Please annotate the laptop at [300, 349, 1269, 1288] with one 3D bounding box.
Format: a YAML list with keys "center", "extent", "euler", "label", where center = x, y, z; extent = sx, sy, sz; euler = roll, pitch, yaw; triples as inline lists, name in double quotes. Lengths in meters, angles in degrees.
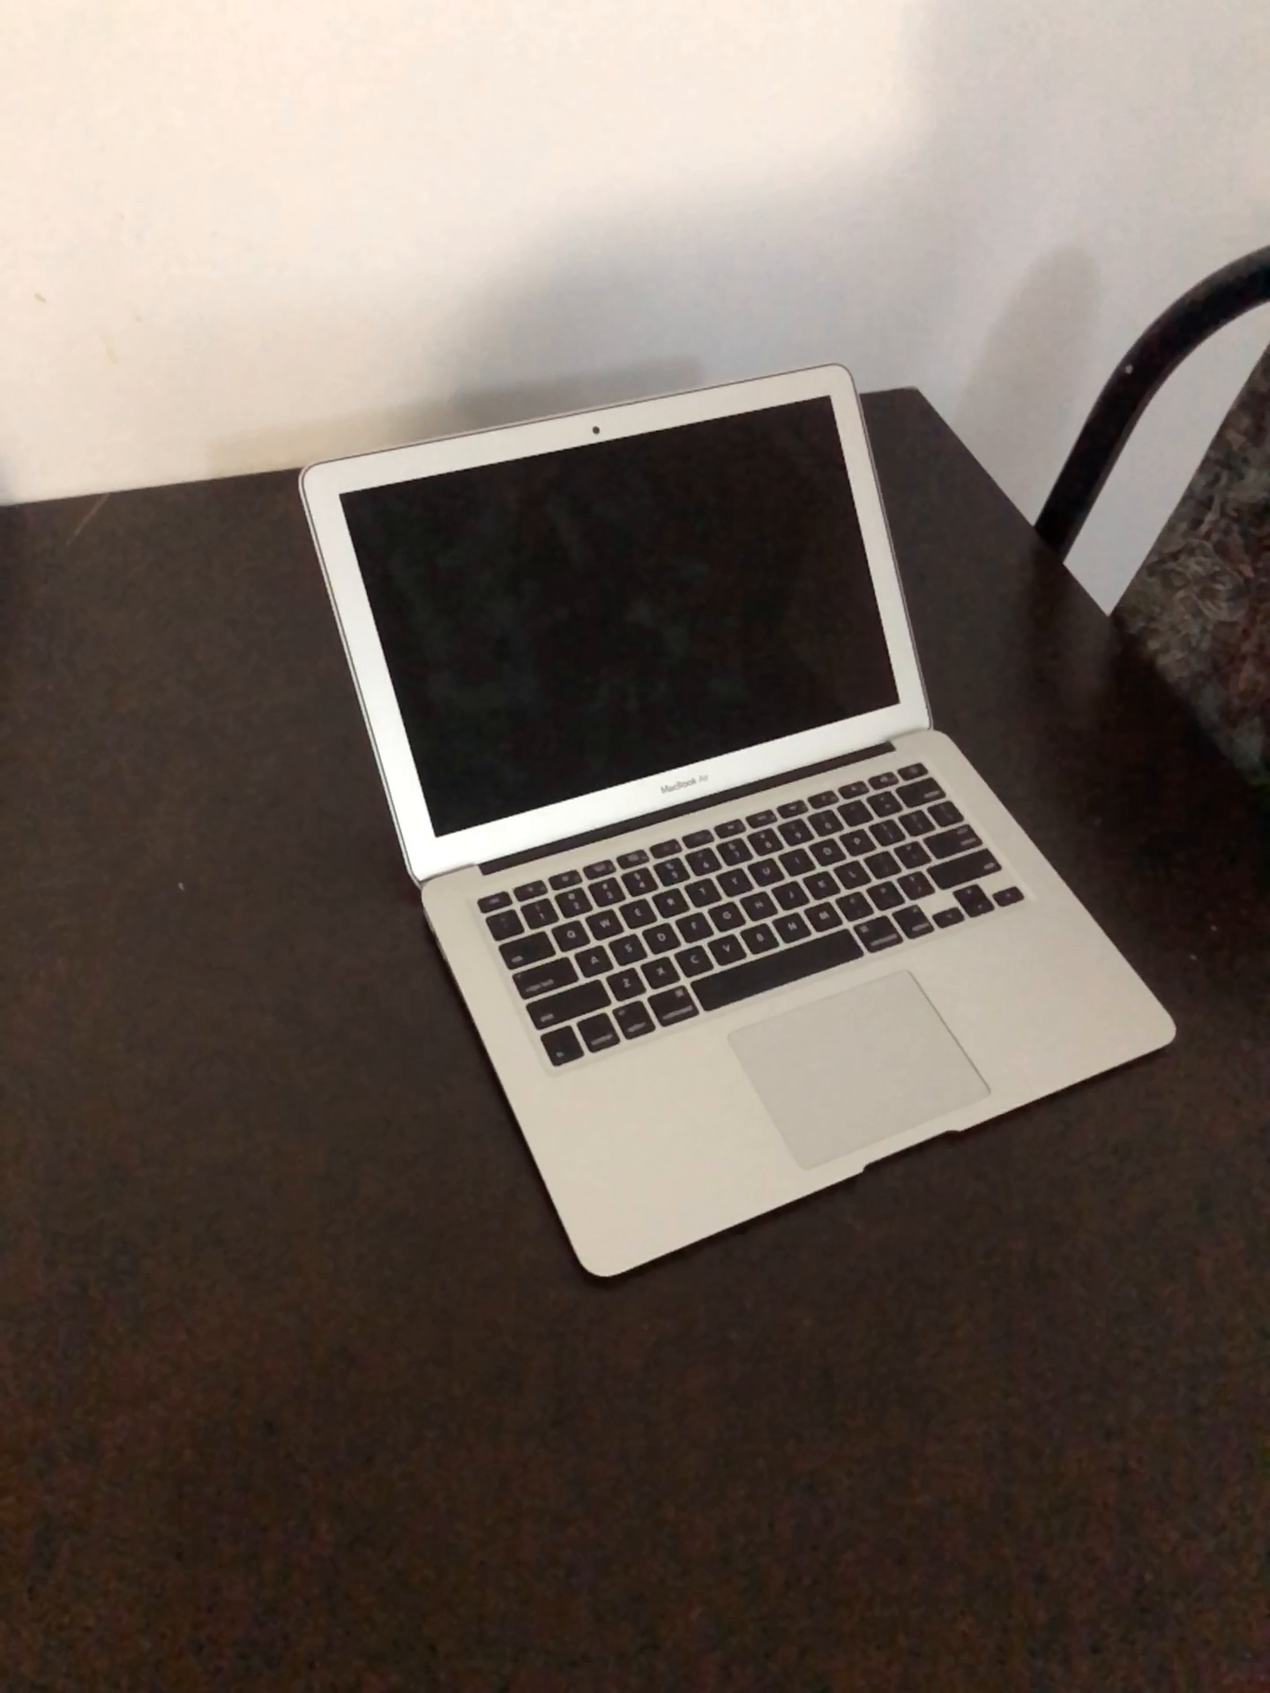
- center: [0.051, -0.046, 0.647]
  extent: [0.303, 0.136, 0.362]
  euler: [-17, 54, -19]
  label: "laptop"
